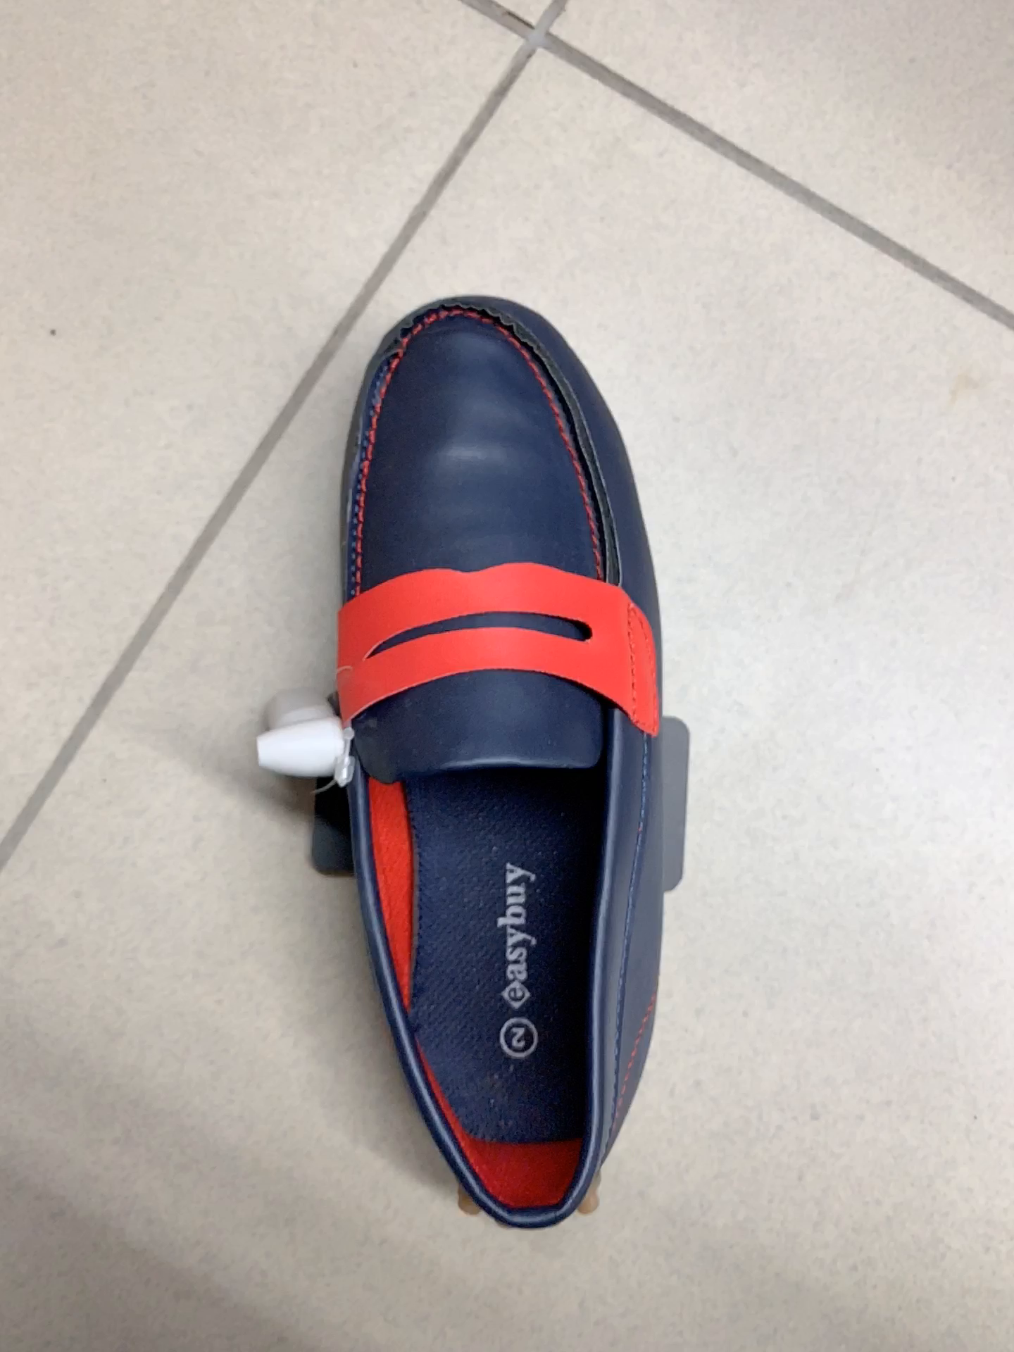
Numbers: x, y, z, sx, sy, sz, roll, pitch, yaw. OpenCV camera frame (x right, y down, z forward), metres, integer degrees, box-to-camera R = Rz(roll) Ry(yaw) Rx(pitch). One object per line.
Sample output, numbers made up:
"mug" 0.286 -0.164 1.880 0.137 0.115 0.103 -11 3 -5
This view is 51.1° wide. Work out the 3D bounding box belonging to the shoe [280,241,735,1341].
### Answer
"shoe" -0.003 0.018 0.221 0.080 0.050 0.200 -1 84 -4
